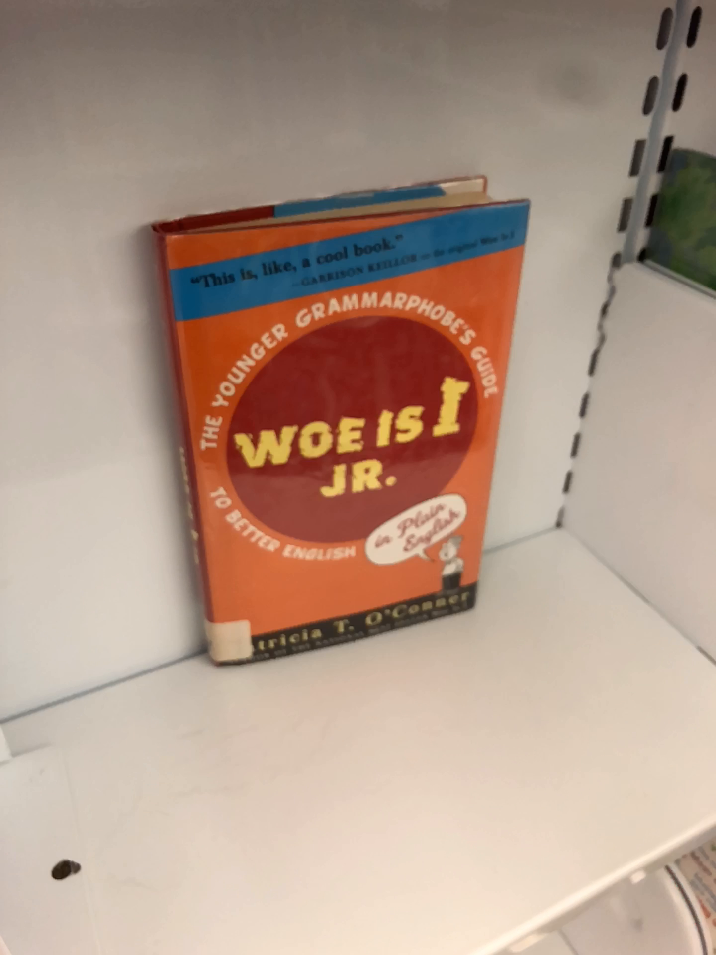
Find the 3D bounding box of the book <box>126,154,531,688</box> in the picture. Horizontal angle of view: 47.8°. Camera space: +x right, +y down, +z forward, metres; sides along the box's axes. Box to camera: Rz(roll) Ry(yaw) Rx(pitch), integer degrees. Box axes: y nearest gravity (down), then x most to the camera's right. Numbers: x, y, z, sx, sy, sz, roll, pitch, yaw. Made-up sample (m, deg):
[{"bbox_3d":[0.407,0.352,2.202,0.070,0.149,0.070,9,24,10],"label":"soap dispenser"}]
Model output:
[{"bbox_3d":[-0.007,-0.018,0.335,0.137,0.199,0.038,-16,36,-22],"label":"book"}]
